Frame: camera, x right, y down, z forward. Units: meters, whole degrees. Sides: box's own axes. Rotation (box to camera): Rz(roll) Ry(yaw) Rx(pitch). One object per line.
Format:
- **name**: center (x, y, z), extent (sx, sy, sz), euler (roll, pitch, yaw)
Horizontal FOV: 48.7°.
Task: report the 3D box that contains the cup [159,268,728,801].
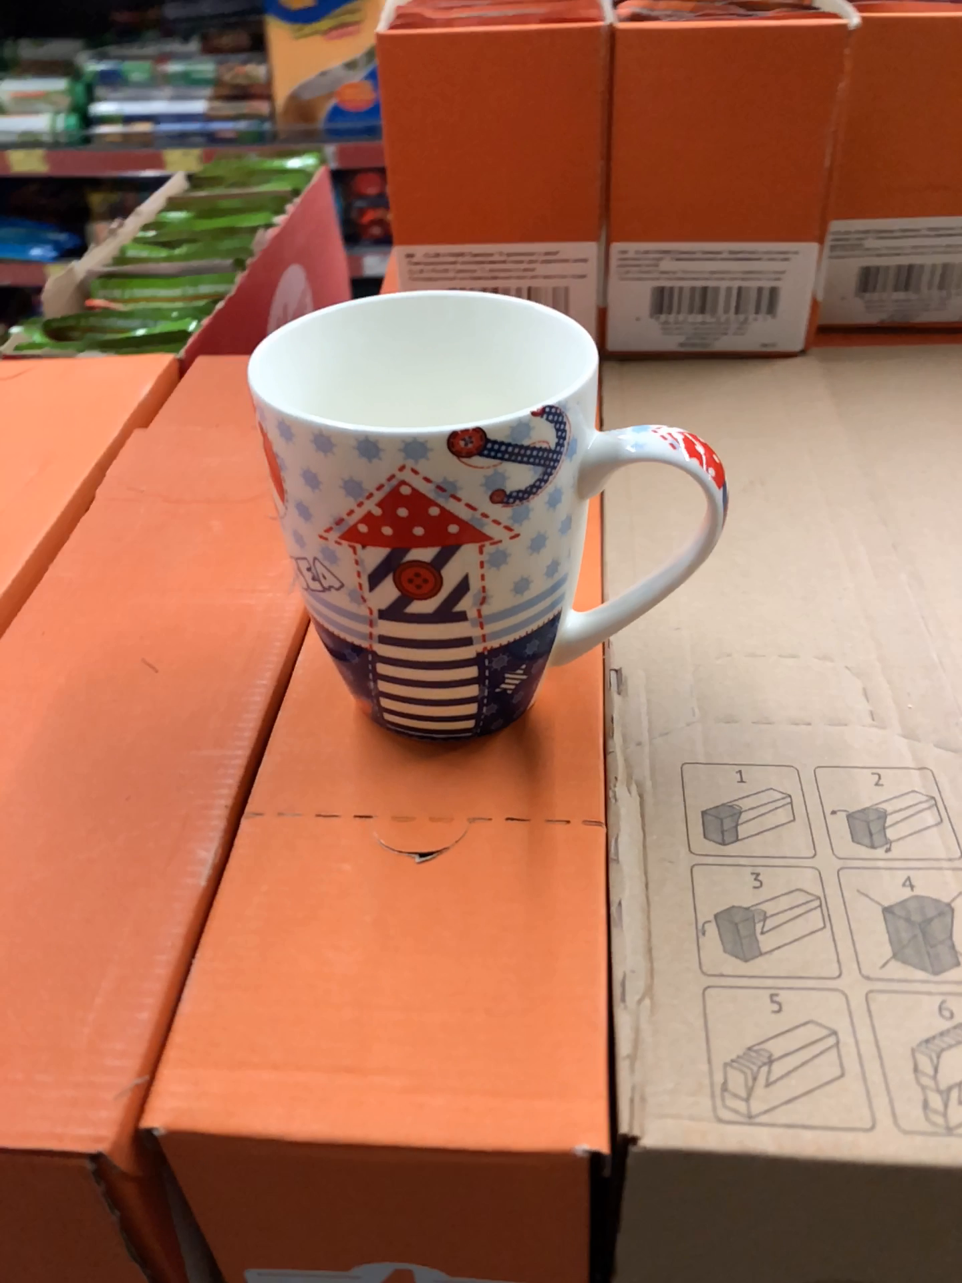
- **cup**: center (-0.003, -0.032, 0.276), extent (0.112, 0.092, 0.086), euler (9, 39, 13)
